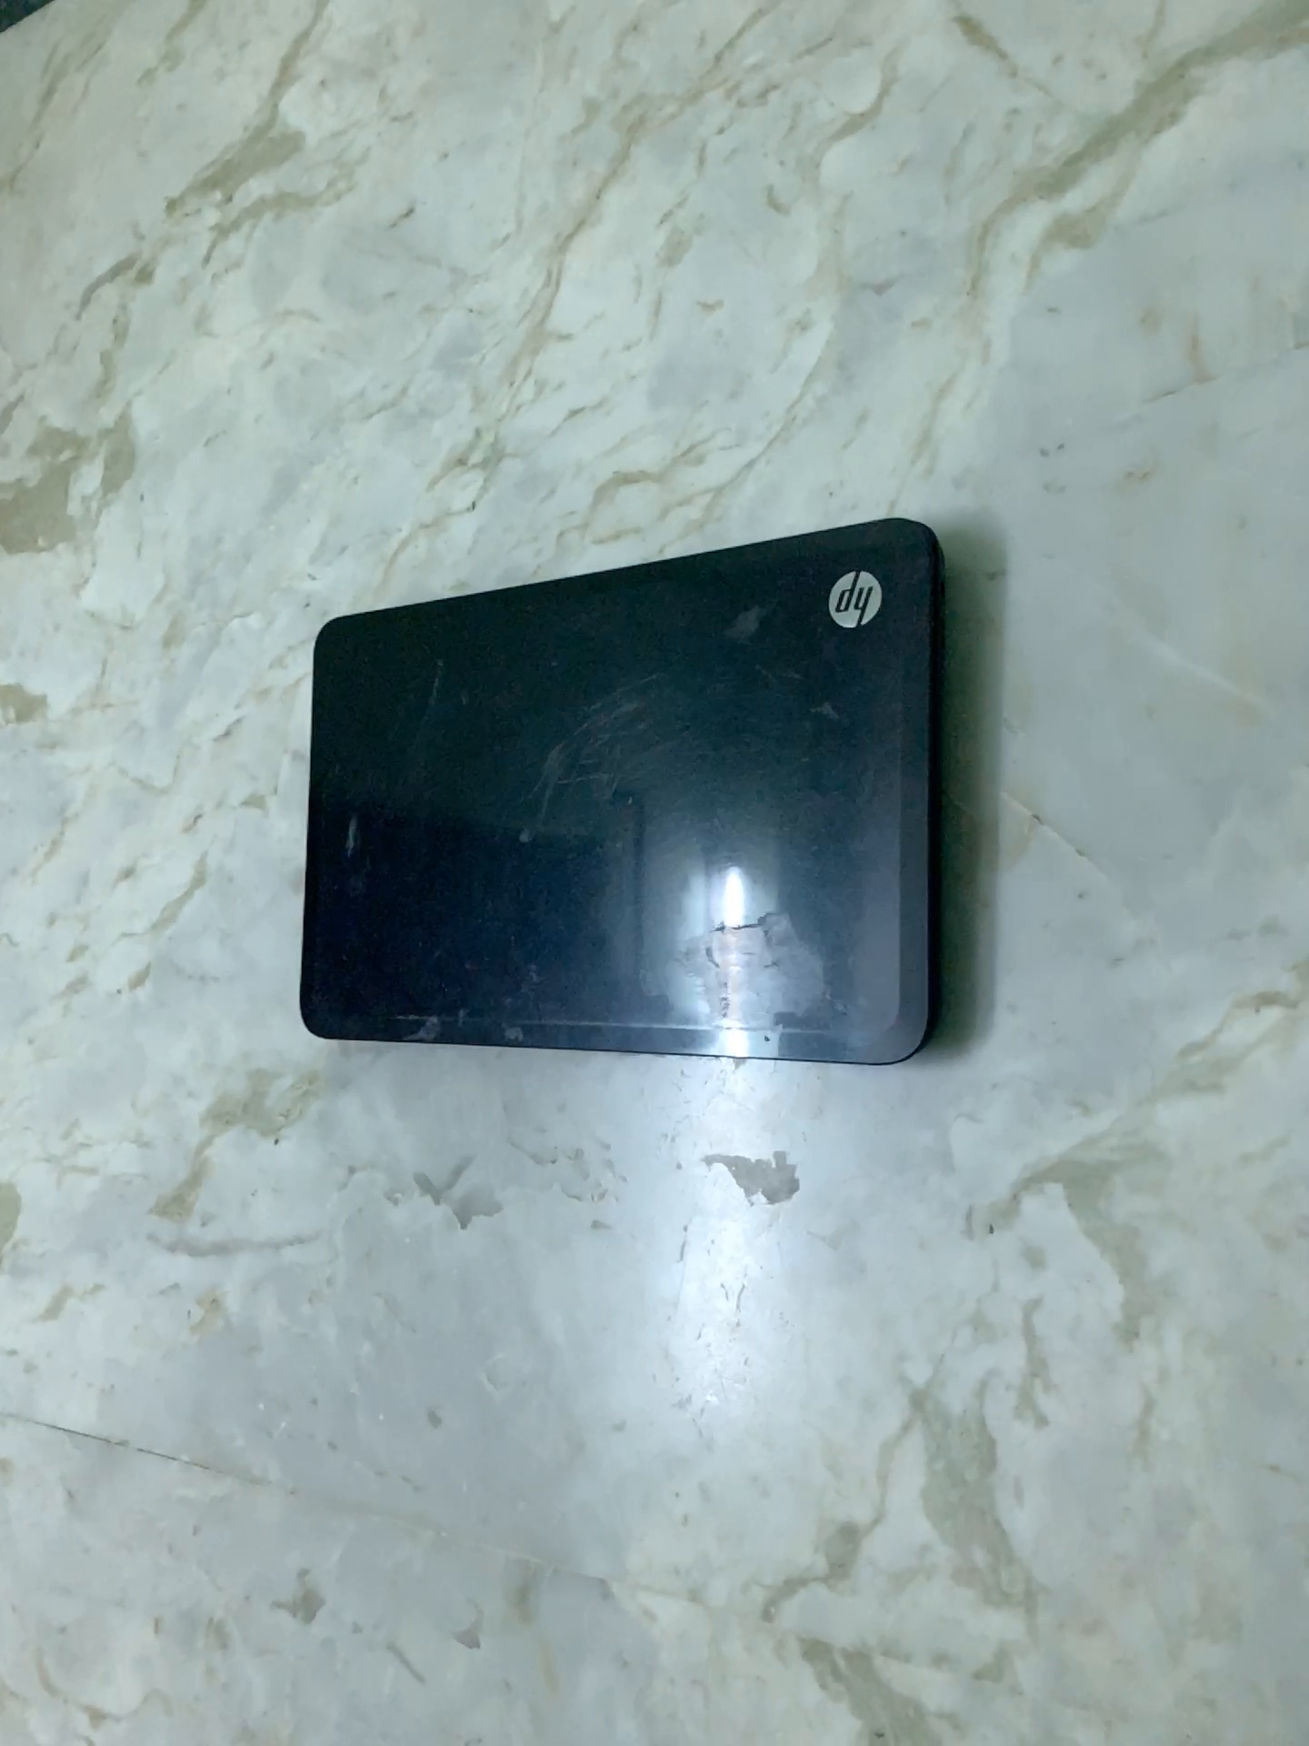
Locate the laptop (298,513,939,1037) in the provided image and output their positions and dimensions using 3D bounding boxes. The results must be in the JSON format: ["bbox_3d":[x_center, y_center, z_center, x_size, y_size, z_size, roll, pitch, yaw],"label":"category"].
[{"bbox_3d":[-0.031,-0.036,0.639,0.334,0.022,0.221,-3,76,32],"label":"laptop"}]
